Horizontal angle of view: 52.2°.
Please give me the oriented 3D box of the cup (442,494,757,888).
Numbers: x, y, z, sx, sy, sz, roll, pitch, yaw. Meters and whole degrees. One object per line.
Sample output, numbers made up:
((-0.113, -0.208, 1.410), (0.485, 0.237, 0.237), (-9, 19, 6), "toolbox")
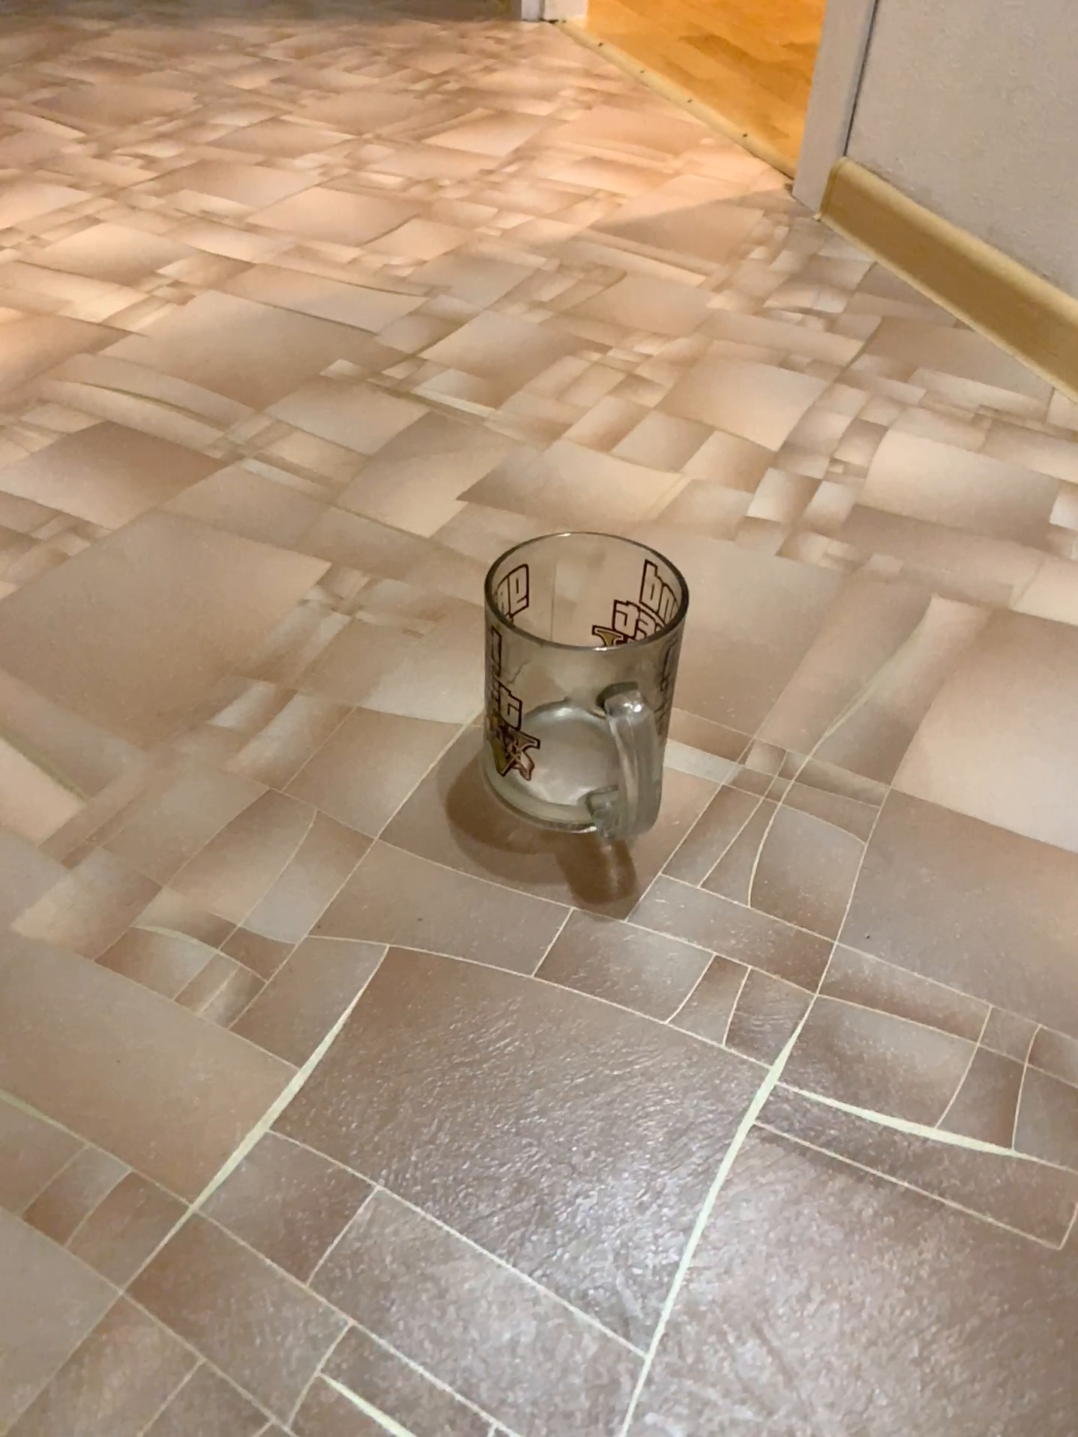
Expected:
((0.016, -0.012, 0.416), (0.082, 0.097, 0.098), (-10, 44, -14), "cup")
